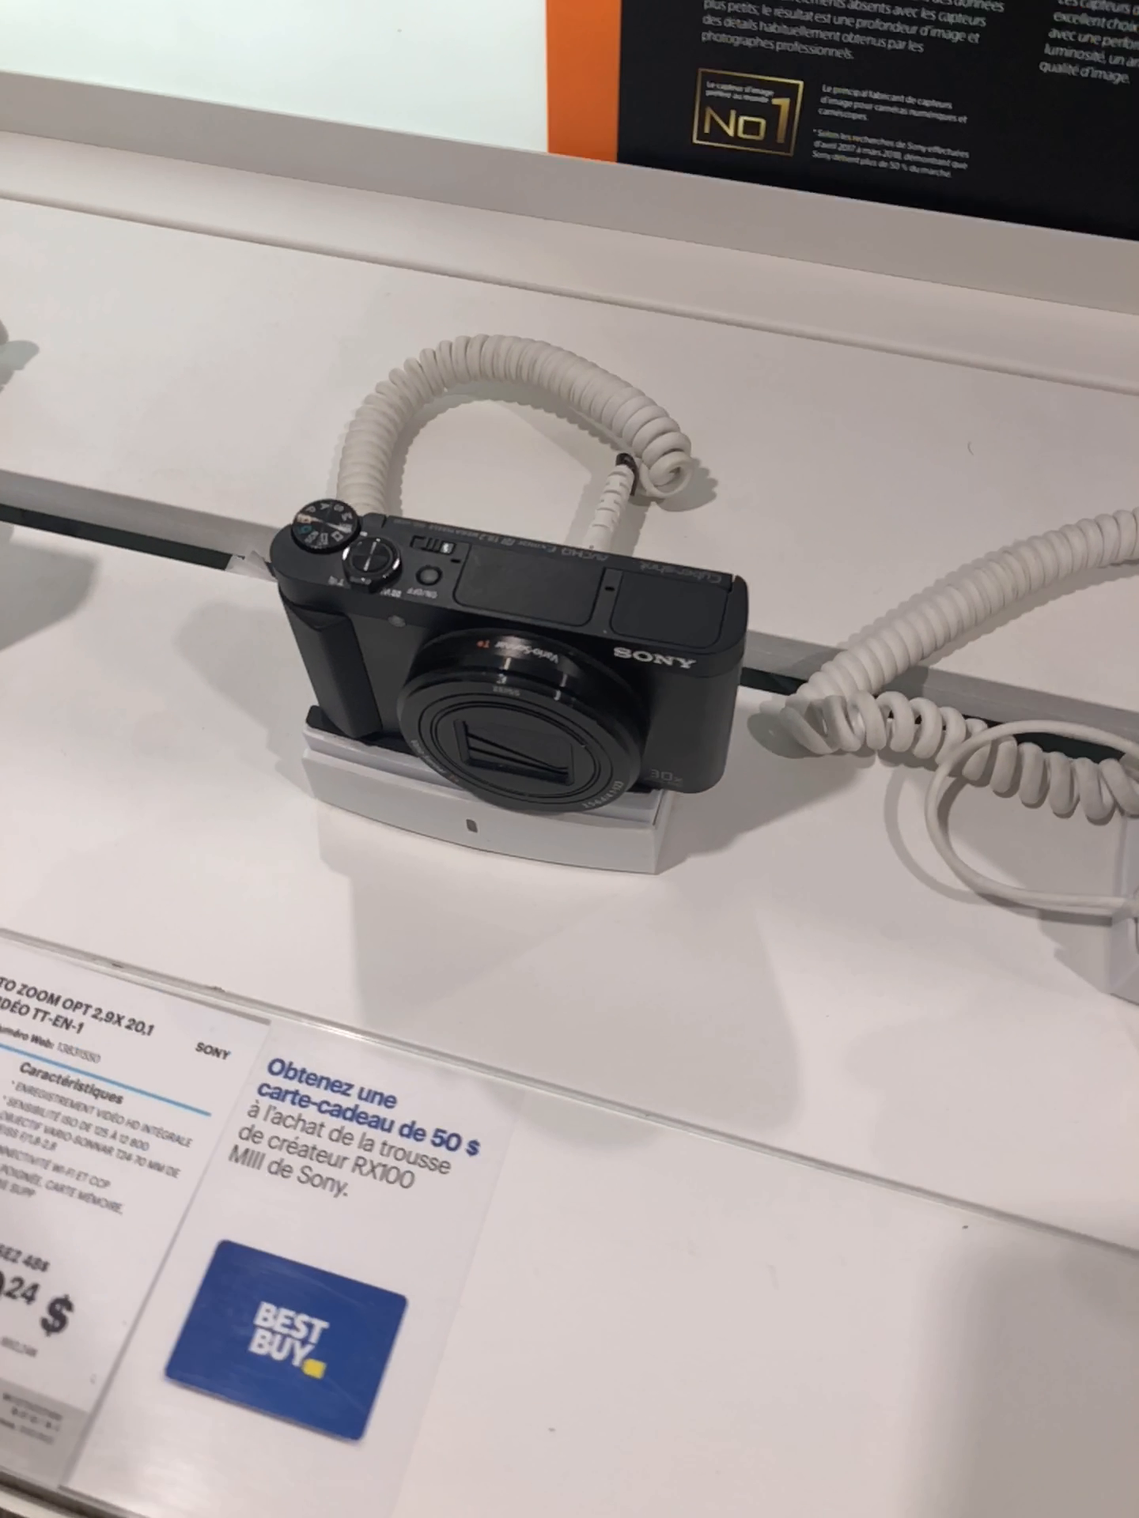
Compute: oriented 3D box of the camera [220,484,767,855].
[{"bbox_3d":[-0.015,-0.019,0.291,0.110,0.070,0.030,11,57,9],"label":"camera"}]
